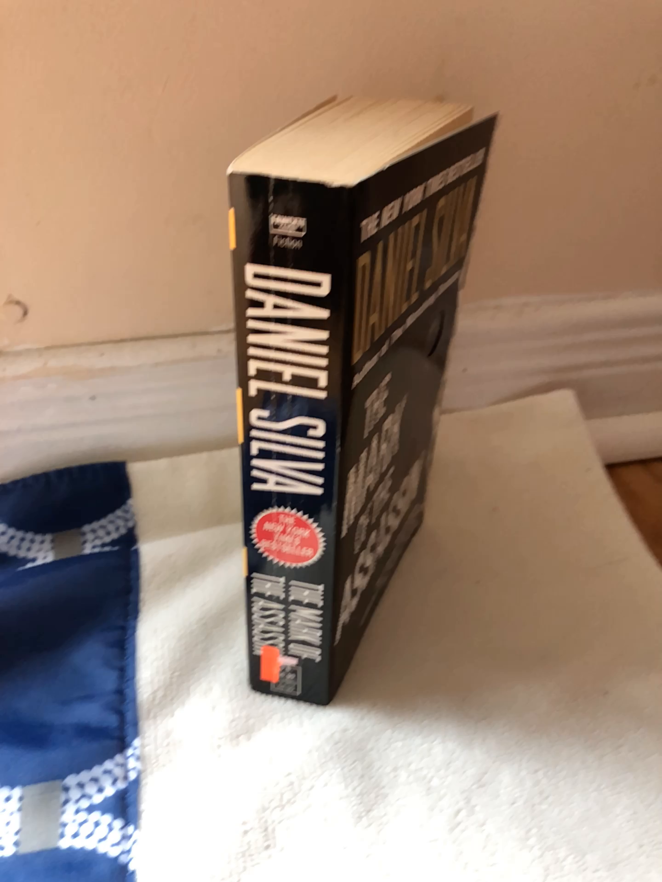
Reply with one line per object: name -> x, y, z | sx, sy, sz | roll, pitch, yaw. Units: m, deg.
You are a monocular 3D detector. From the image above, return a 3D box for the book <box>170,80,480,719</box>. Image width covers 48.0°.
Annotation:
book -> 0.005, -0.017, 0.245 | 0.045, 0.169, 0.119 | 12, 35, 16
